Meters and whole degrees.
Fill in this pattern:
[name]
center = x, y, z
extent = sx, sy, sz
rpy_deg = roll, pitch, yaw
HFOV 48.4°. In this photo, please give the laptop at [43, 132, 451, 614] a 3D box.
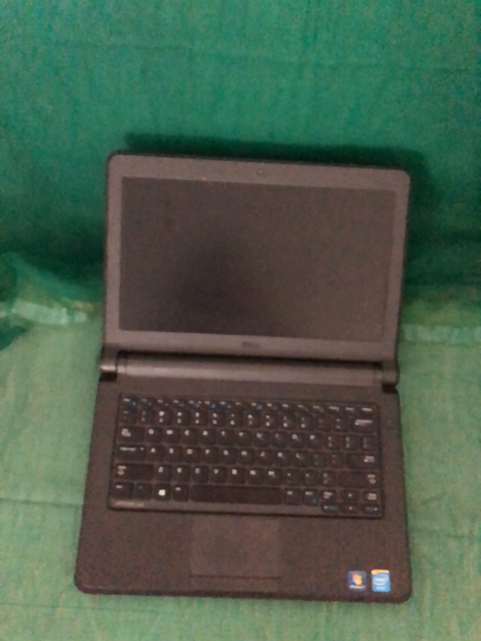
[laptop]
center = 0.012, 0.038, 0.516
extent = 0.311, 0.096, 0.420
rpy_deg = 3, 72, -1
